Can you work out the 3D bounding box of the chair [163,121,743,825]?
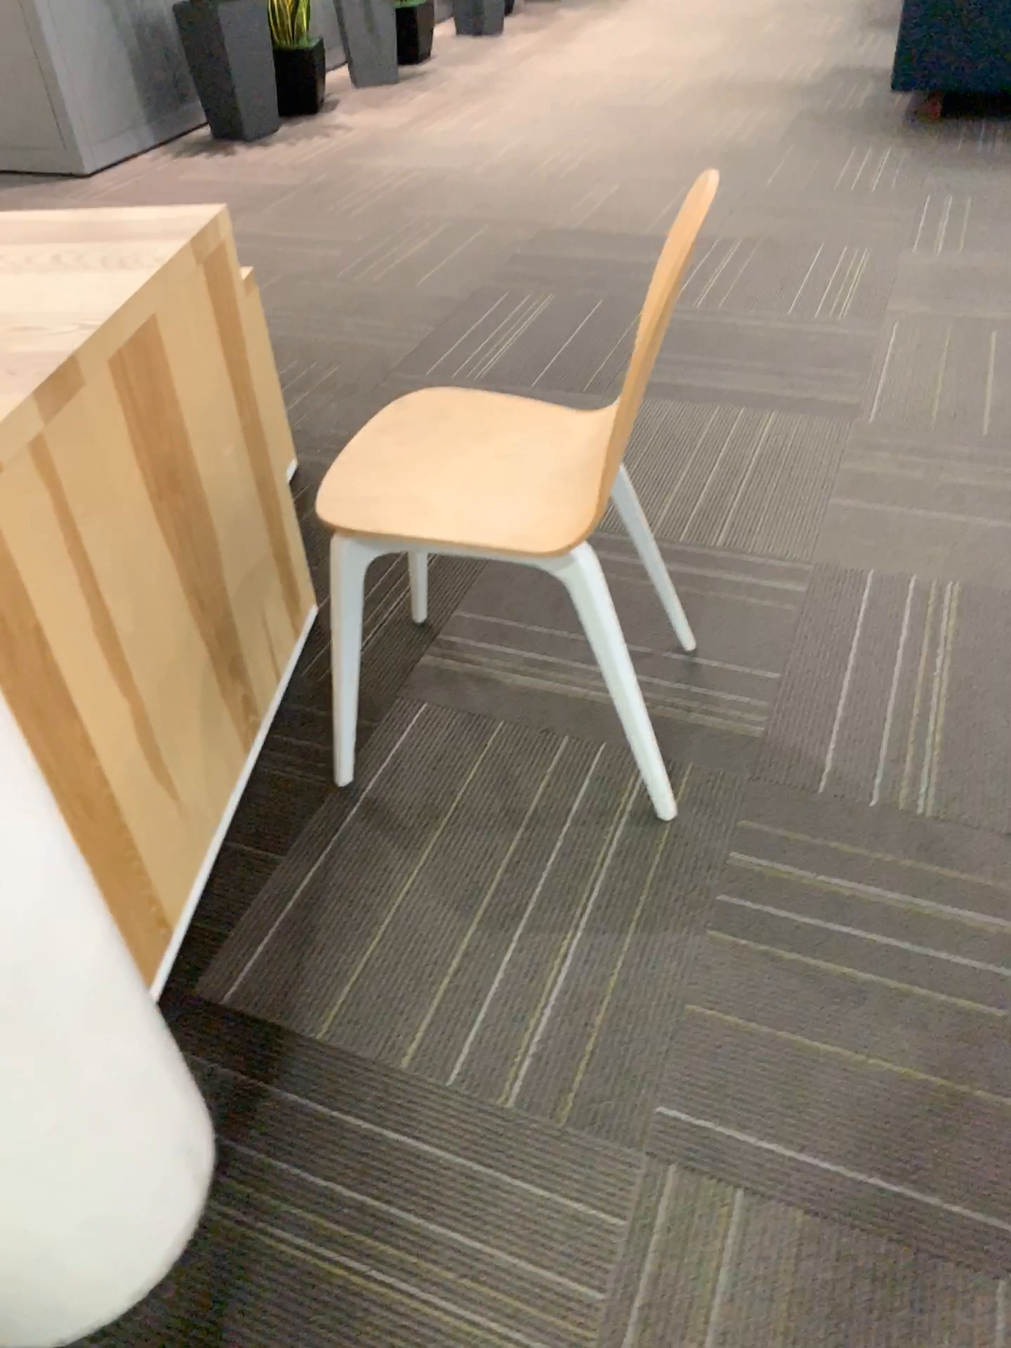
[{"bbox_3d":[-0.001,-0.270,1.452,0.580,0.805,0.483,5,41,11],"label":"chair"}]
